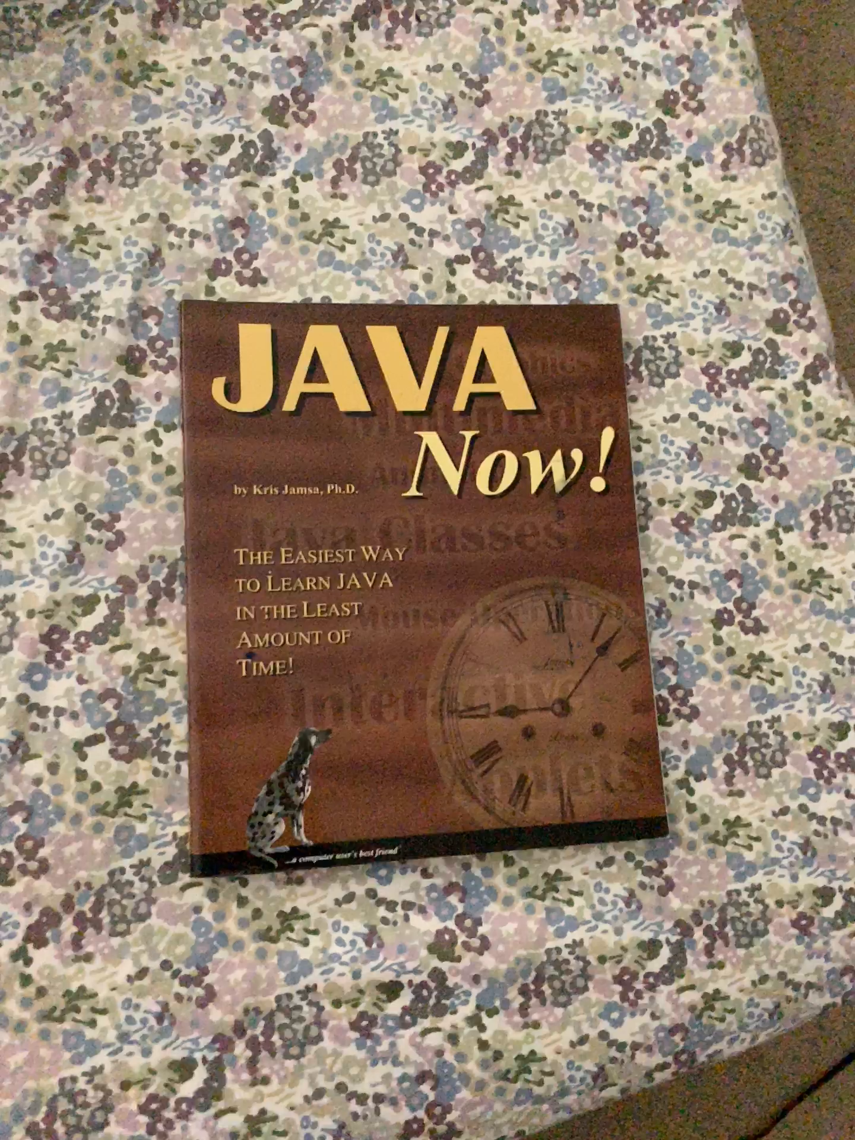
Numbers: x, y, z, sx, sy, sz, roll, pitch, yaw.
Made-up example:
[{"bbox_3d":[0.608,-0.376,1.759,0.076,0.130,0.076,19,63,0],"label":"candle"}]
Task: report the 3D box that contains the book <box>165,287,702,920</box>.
[{"bbox_3d":[0.001,0.006,0.392,0.220,0.030,0.260,-2,83,-10],"label":"book"}]
